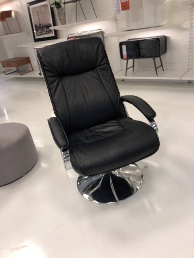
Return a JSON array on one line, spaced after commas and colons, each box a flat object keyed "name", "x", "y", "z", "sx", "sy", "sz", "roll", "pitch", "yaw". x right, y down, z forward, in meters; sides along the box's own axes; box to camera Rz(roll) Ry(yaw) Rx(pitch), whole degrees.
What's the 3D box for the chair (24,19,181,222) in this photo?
[{"name": "chair", "x": 0.011, "y": -0.133, "z": 1.498, "sx": 0.730, "sy": 0.992, "sz": 0.806, "roll": -16, "pitch": 27, "yaw": -12}]
